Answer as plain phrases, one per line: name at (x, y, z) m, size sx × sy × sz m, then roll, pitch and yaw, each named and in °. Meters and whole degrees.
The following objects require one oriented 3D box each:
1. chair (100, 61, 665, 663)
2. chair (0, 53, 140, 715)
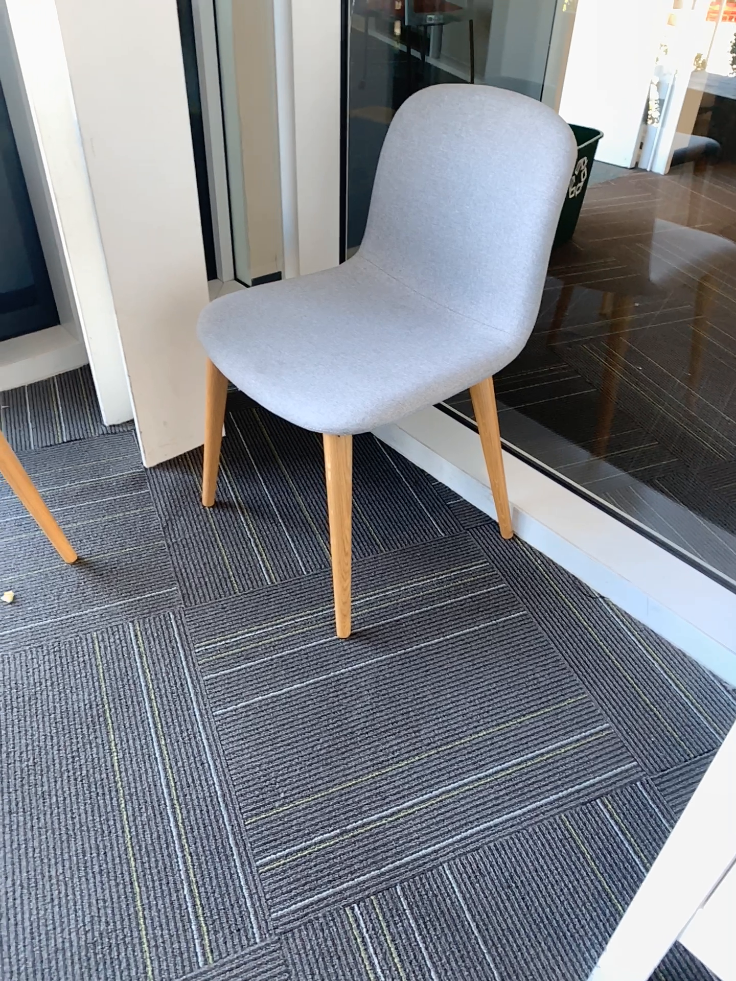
chair at (0.011, -0.259, 1.311) m, size 0.591 × 0.726 × 0.562 m, roll -30°, pitch 49°, yaw -33°
chair at (-0.874, -0.225, 1.243) m, size 0.601 × 0.726 × 0.653 m, roll -31°, pitch 50°, yaw -34°
